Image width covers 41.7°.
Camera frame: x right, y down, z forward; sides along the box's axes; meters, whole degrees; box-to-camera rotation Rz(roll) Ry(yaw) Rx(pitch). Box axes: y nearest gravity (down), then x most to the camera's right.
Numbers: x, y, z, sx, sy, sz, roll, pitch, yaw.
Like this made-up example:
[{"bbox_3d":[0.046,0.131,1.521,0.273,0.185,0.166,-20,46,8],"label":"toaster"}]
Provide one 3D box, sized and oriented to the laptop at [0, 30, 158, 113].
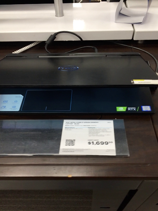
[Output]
[{"bbox_3d":[-0.023,-0.096,0.526,0.412,0.092,0.228,-1,48,-2],"label":"laptop"}]
